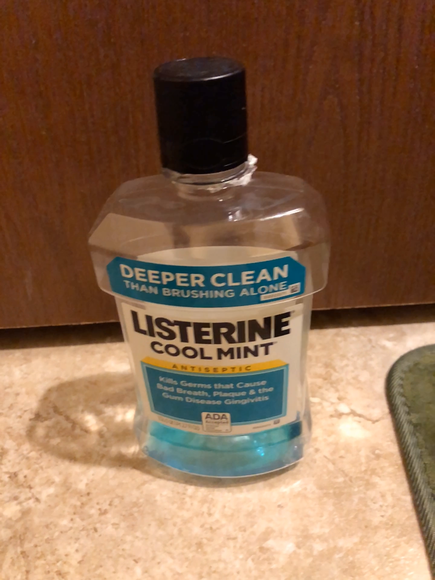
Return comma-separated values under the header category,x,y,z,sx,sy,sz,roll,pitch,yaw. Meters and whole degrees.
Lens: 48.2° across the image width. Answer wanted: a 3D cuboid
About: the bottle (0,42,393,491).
category,x,y,z,sx,sy,sz,roll,pitch,yaw
bottle,-0.002,0.002,0.258,0.130,0.219,0.090,0,37,5
